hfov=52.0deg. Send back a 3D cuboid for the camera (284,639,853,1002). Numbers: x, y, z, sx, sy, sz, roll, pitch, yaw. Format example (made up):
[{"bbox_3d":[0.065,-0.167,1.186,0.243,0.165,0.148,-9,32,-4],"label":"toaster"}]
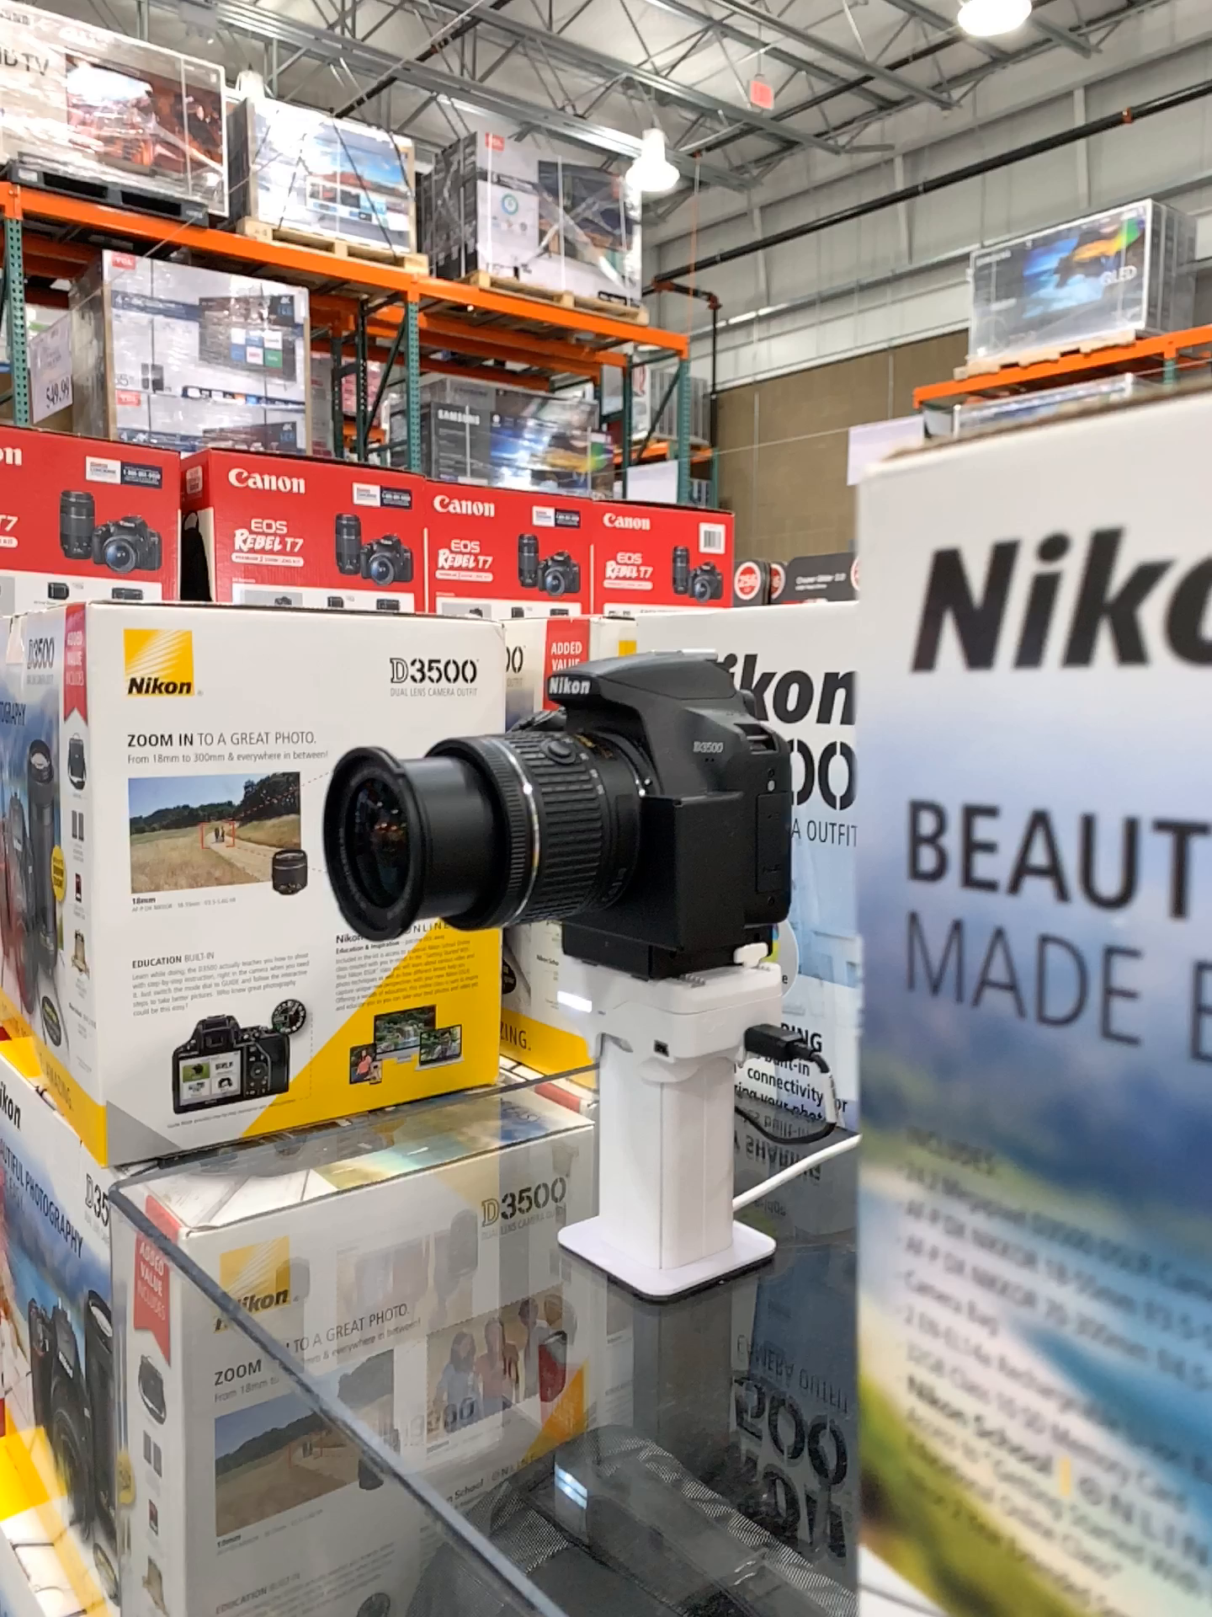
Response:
[{"bbox_3d":[-0.015,-0.007,0.437,0.150,0.100,0.130,-4,8,-38],"label":"camera"}]
